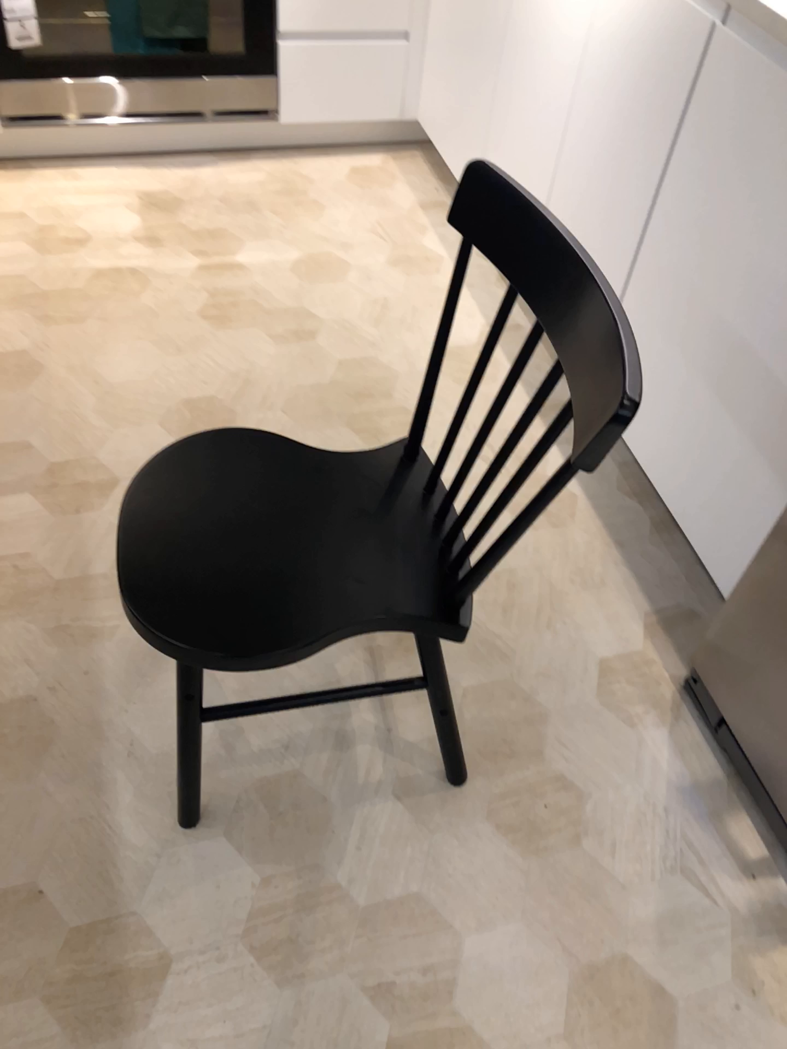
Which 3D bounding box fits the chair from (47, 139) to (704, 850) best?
[{"bbox_3d":[-0.073,-0.006,1.088,0.510,0.746,0.483,-5,49,-11],"label":"chair"}]
